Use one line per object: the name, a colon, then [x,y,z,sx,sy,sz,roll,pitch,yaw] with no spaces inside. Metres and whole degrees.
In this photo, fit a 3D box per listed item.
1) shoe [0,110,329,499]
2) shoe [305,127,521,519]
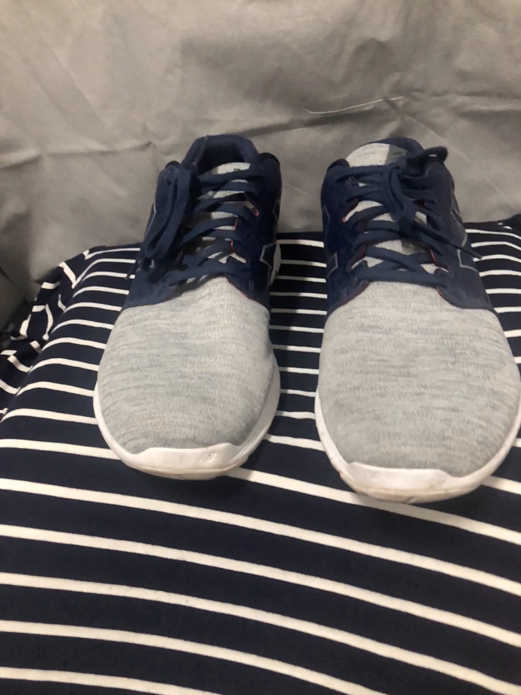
shoe: [-0.021,-0.063,0.374,0.120,0.089,0.323,0,36,9]
shoe: [0.094,-0.041,0.320,0.120,0.079,0.262,0,36,9]
